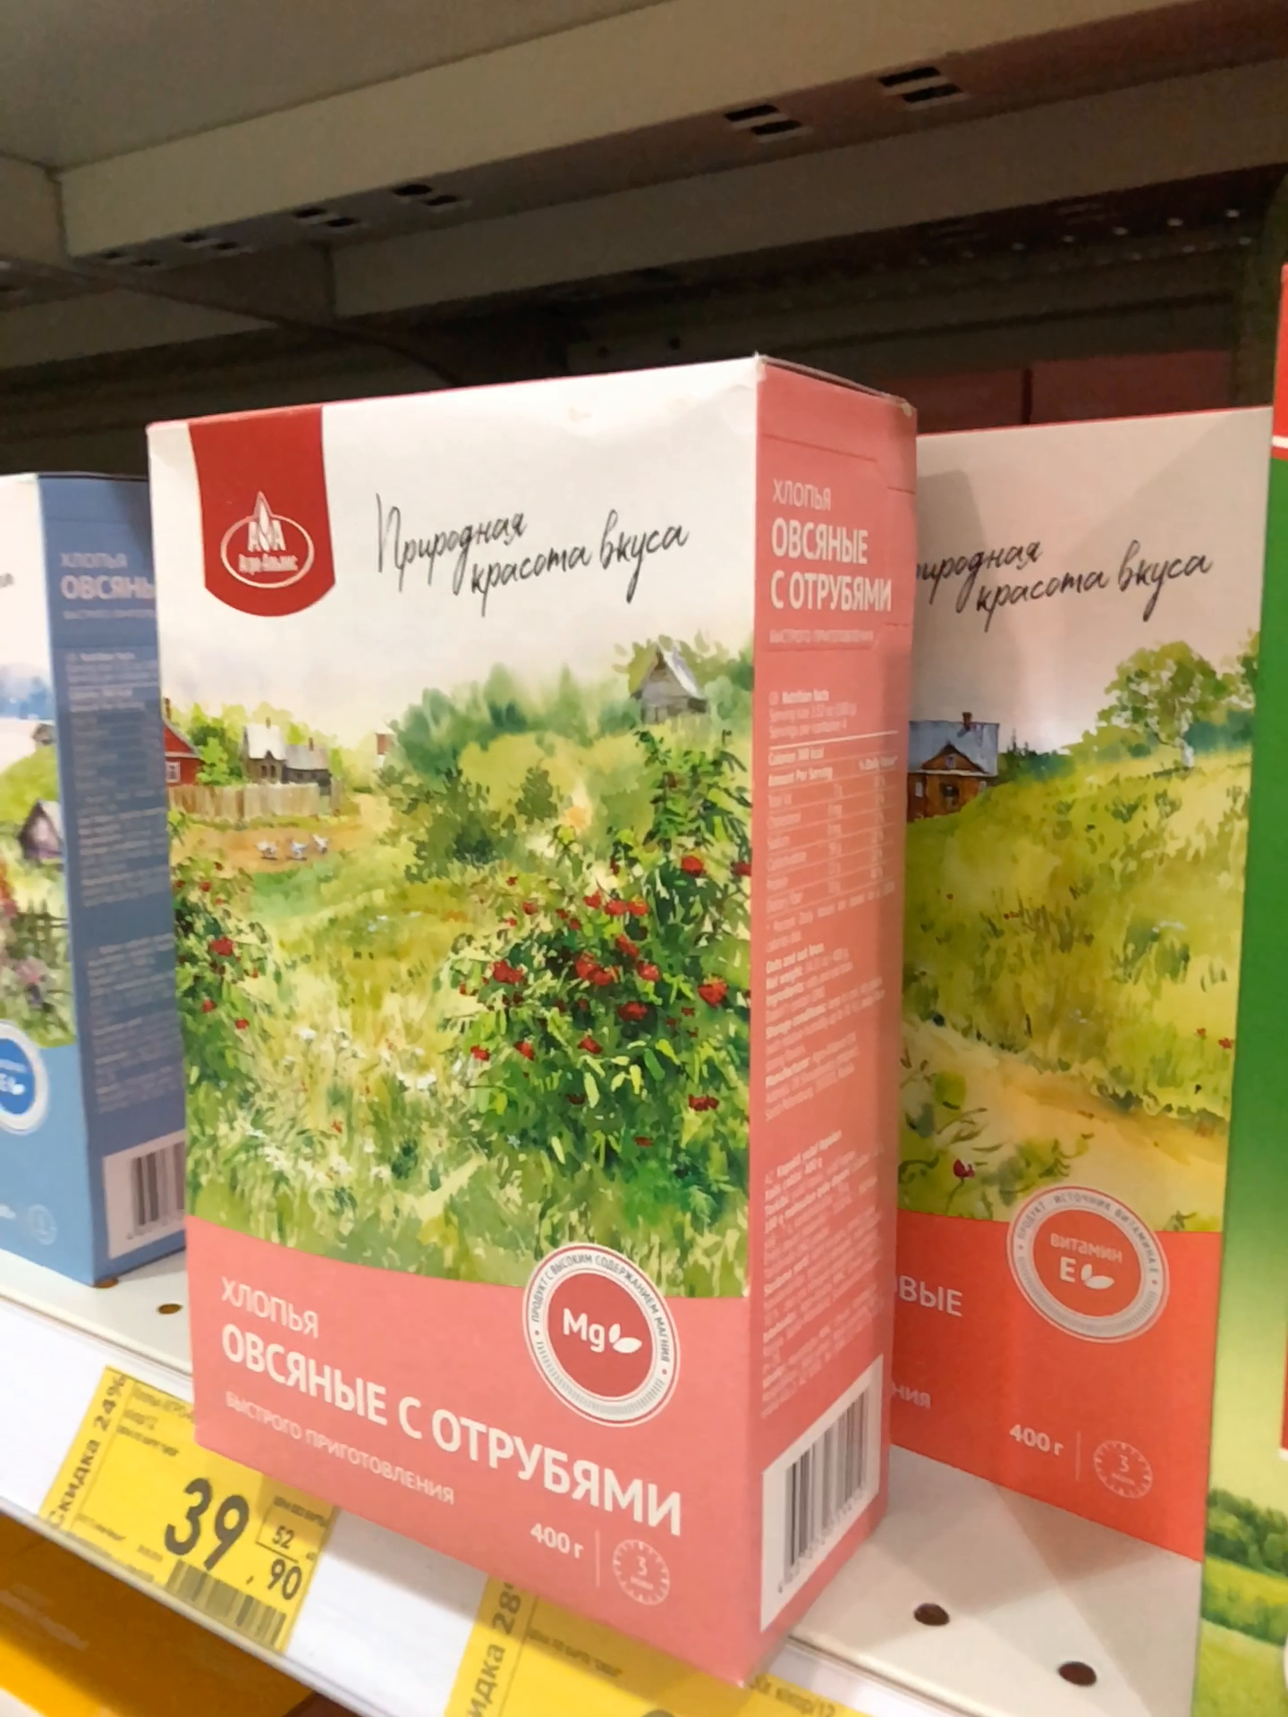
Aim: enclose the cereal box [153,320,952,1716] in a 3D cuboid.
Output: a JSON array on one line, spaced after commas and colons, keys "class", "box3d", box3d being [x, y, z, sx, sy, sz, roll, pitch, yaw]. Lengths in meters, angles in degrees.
[{"class": "cereal box", "box3d": [-0.020, 0.022, 0.265, 0.130, 0.209, 0.060, 6, 9, 32]}]
